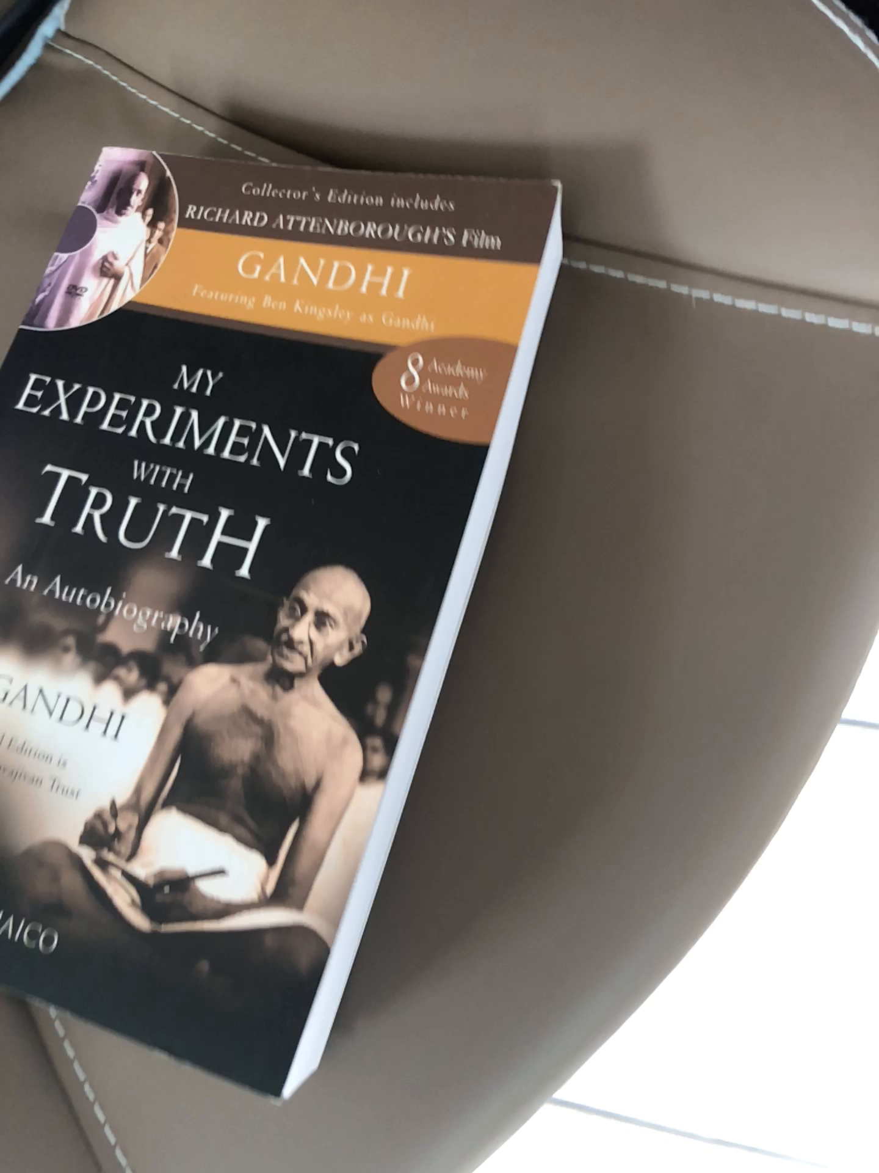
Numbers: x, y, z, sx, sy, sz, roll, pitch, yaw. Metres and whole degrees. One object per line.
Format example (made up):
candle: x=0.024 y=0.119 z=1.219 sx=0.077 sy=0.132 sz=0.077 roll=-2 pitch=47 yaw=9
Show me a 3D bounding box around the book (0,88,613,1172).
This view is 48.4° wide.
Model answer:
book: x=-0.060 y=-0.007 z=0.261 sx=0.150 sy=0.050 sz=0.240 roll=15 pitch=78 yaw=15
